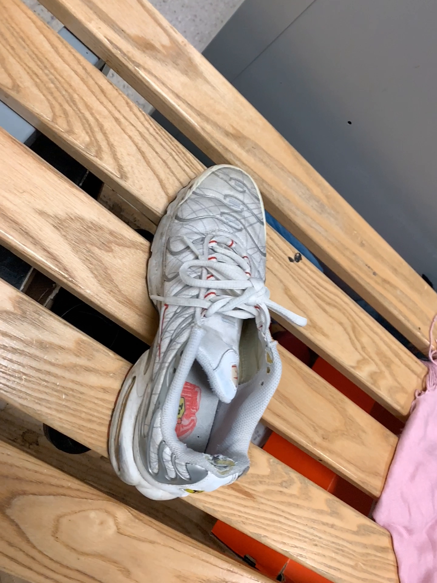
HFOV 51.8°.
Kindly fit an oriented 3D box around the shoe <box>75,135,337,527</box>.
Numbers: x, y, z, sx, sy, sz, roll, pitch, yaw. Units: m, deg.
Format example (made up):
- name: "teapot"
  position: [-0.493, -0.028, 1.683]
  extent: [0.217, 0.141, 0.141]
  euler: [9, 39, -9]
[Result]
- name: "shoe"
  position: [-0.006, 0.027, 0.329]
  extent: [0.101, 0.105, 0.227]
  euler: [23, 72, -26]
